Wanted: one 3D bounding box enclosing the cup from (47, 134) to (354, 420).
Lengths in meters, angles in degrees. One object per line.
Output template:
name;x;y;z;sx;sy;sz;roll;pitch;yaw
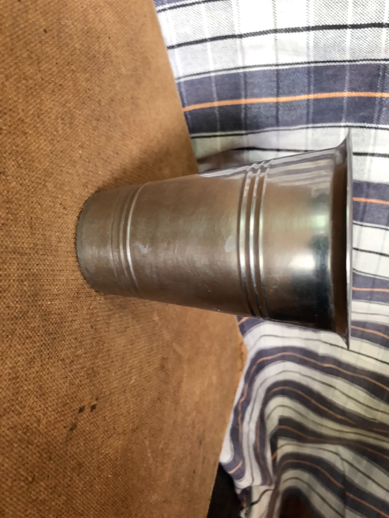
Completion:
cup;0.015;-0.003;0.174;0.090;0.089;0.080;-36;123;-66
